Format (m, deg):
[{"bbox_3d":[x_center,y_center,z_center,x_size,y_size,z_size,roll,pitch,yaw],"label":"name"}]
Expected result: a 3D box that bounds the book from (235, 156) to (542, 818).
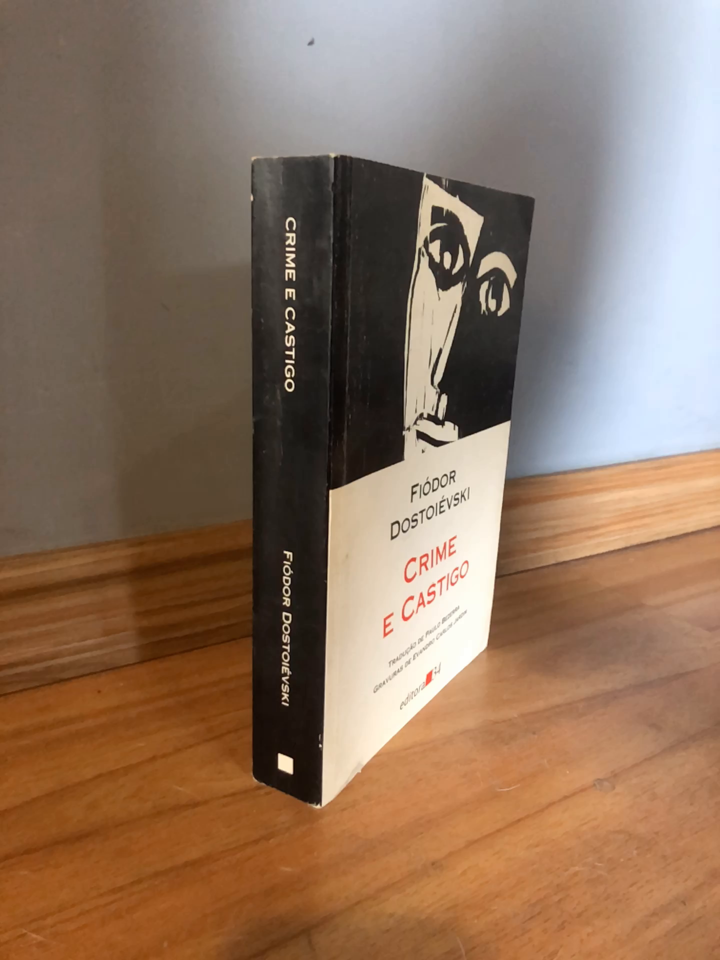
[{"bbox_3d":[0.019,-0.008,0.343,0.045,0.223,0.171,10,16,29],"label":"book"}]
